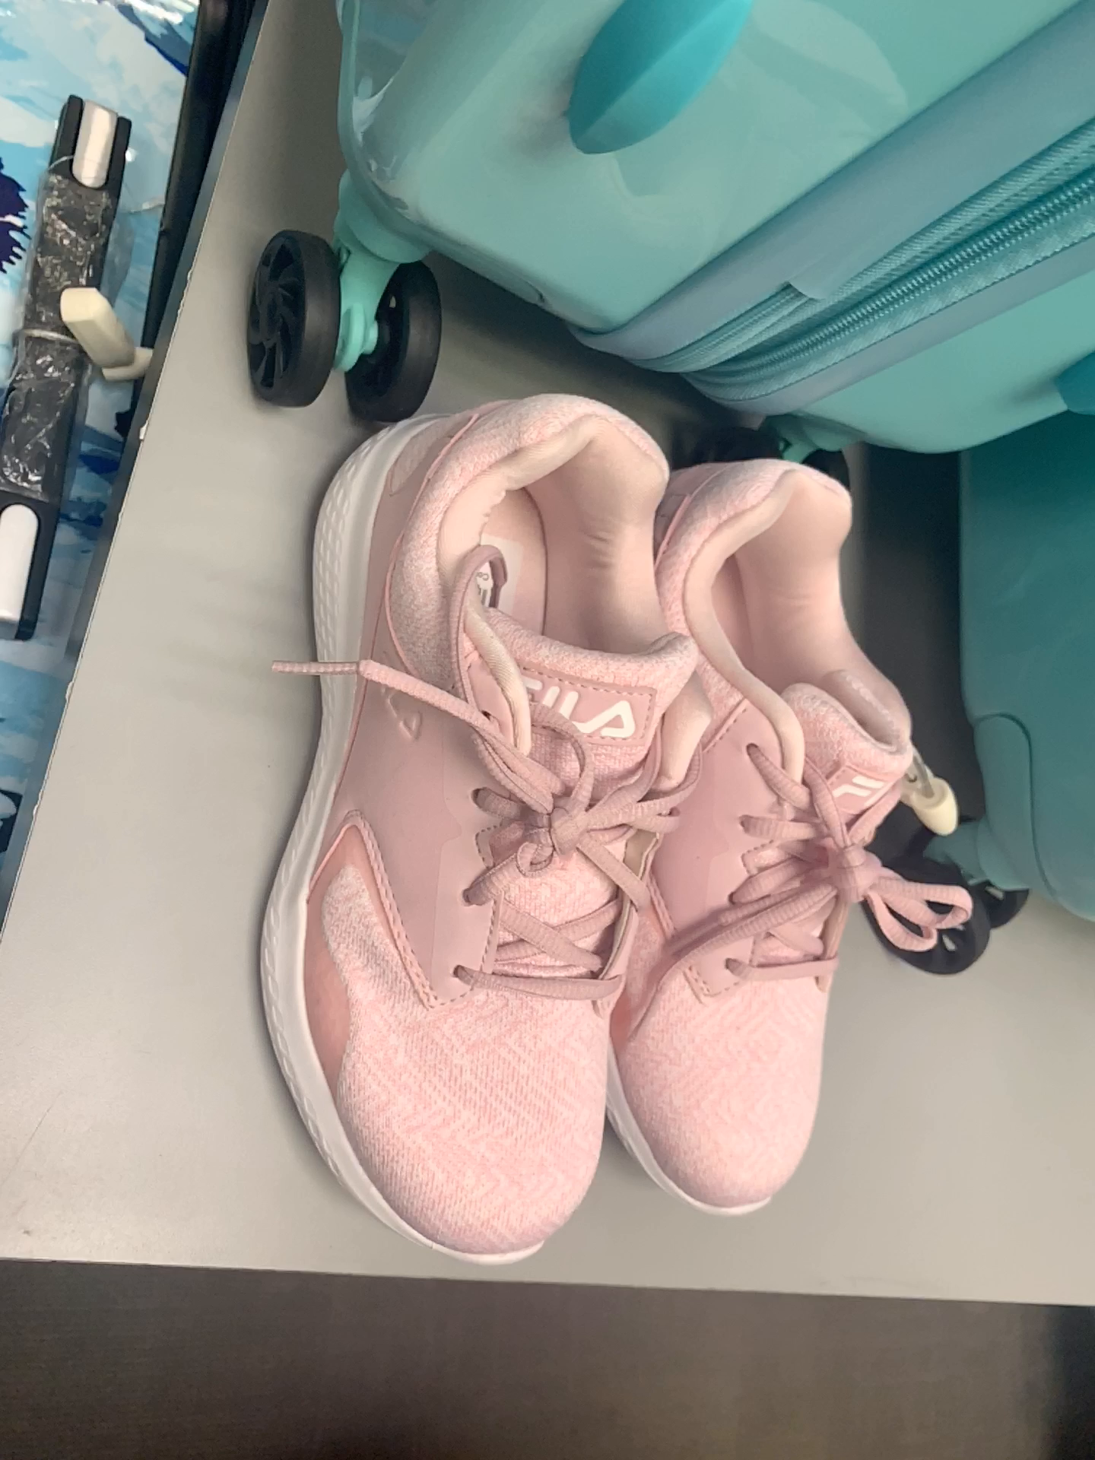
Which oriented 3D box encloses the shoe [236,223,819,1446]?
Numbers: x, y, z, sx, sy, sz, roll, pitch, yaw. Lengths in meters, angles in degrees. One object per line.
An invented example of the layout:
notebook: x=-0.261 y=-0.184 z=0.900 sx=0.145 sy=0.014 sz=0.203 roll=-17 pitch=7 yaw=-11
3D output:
shoe: x=-0.013 y=0.022 z=0.304 sx=0.108 sy=0.104 sz=0.250 roll=4 pitch=79 yaw=-33

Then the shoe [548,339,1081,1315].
shoe: x=0.077 y=0.028 z=0.362 sx=0.108 sy=0.104 sz=0.250 roll=4 pitch=79 yaw=-33
